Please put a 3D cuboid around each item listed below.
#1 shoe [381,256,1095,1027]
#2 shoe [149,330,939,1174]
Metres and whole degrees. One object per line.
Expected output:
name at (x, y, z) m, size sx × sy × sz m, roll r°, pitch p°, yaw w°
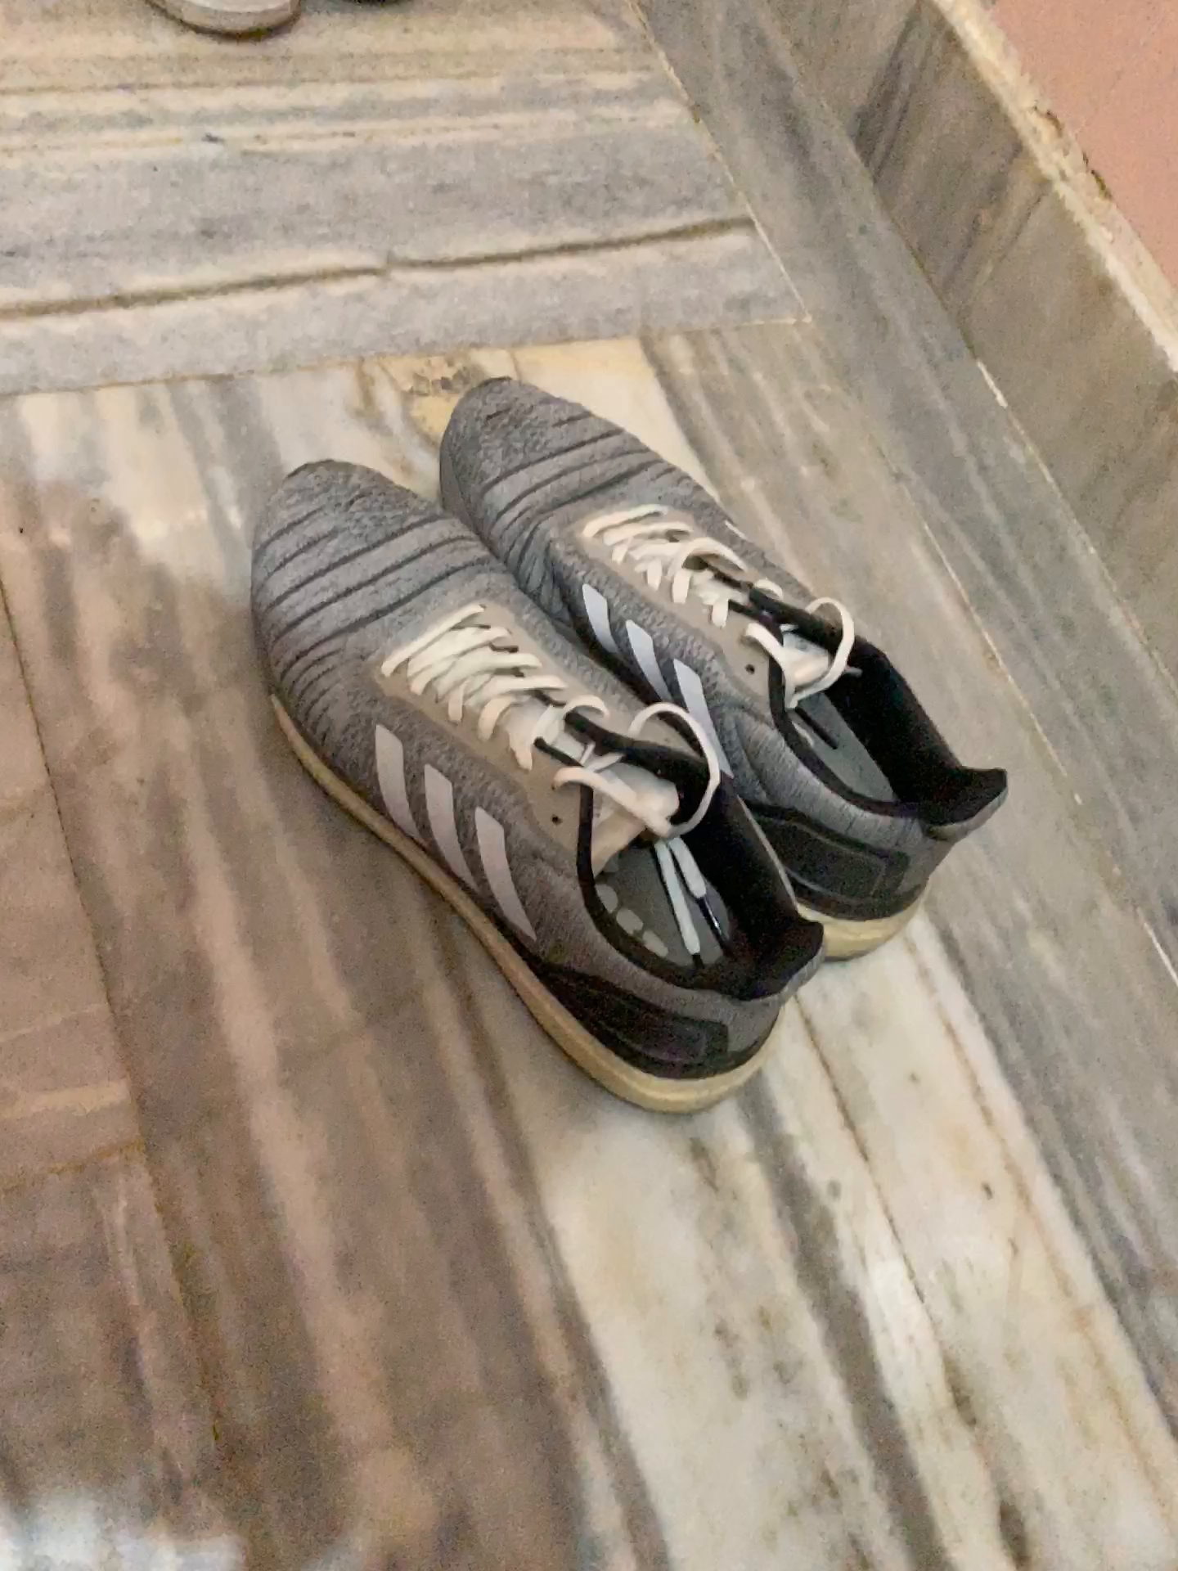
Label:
shoe at (0.051, -0.066, 0.506) m, size 0.110 × 0.080 × 0.310 m, roll -32°, pitch 78°, yaw -28°
shoe at (-0.027, -0.017, 0.465) m, size 0.120 × 0.090 × 0.300 m, roll -35°, pitch 80°, yaw -28°
